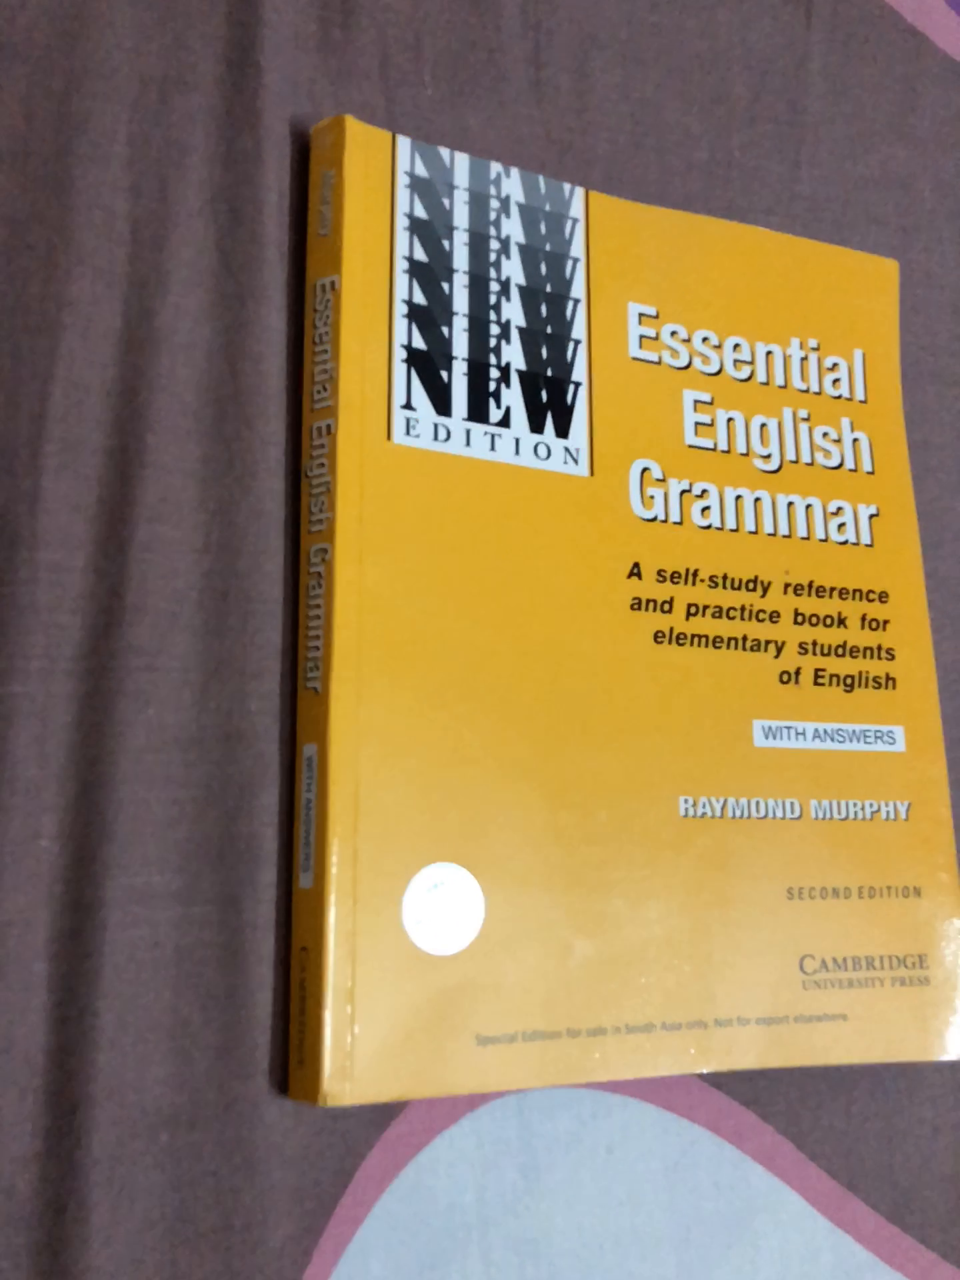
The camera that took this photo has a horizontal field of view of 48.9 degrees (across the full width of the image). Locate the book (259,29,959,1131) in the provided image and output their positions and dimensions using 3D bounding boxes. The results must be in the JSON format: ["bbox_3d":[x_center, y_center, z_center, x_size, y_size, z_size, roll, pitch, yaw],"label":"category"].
[{"bbox_3d":[0.045,-0.015,0.285,0.191,0.040,0.250,5,76,-23],"label":"book"}]
